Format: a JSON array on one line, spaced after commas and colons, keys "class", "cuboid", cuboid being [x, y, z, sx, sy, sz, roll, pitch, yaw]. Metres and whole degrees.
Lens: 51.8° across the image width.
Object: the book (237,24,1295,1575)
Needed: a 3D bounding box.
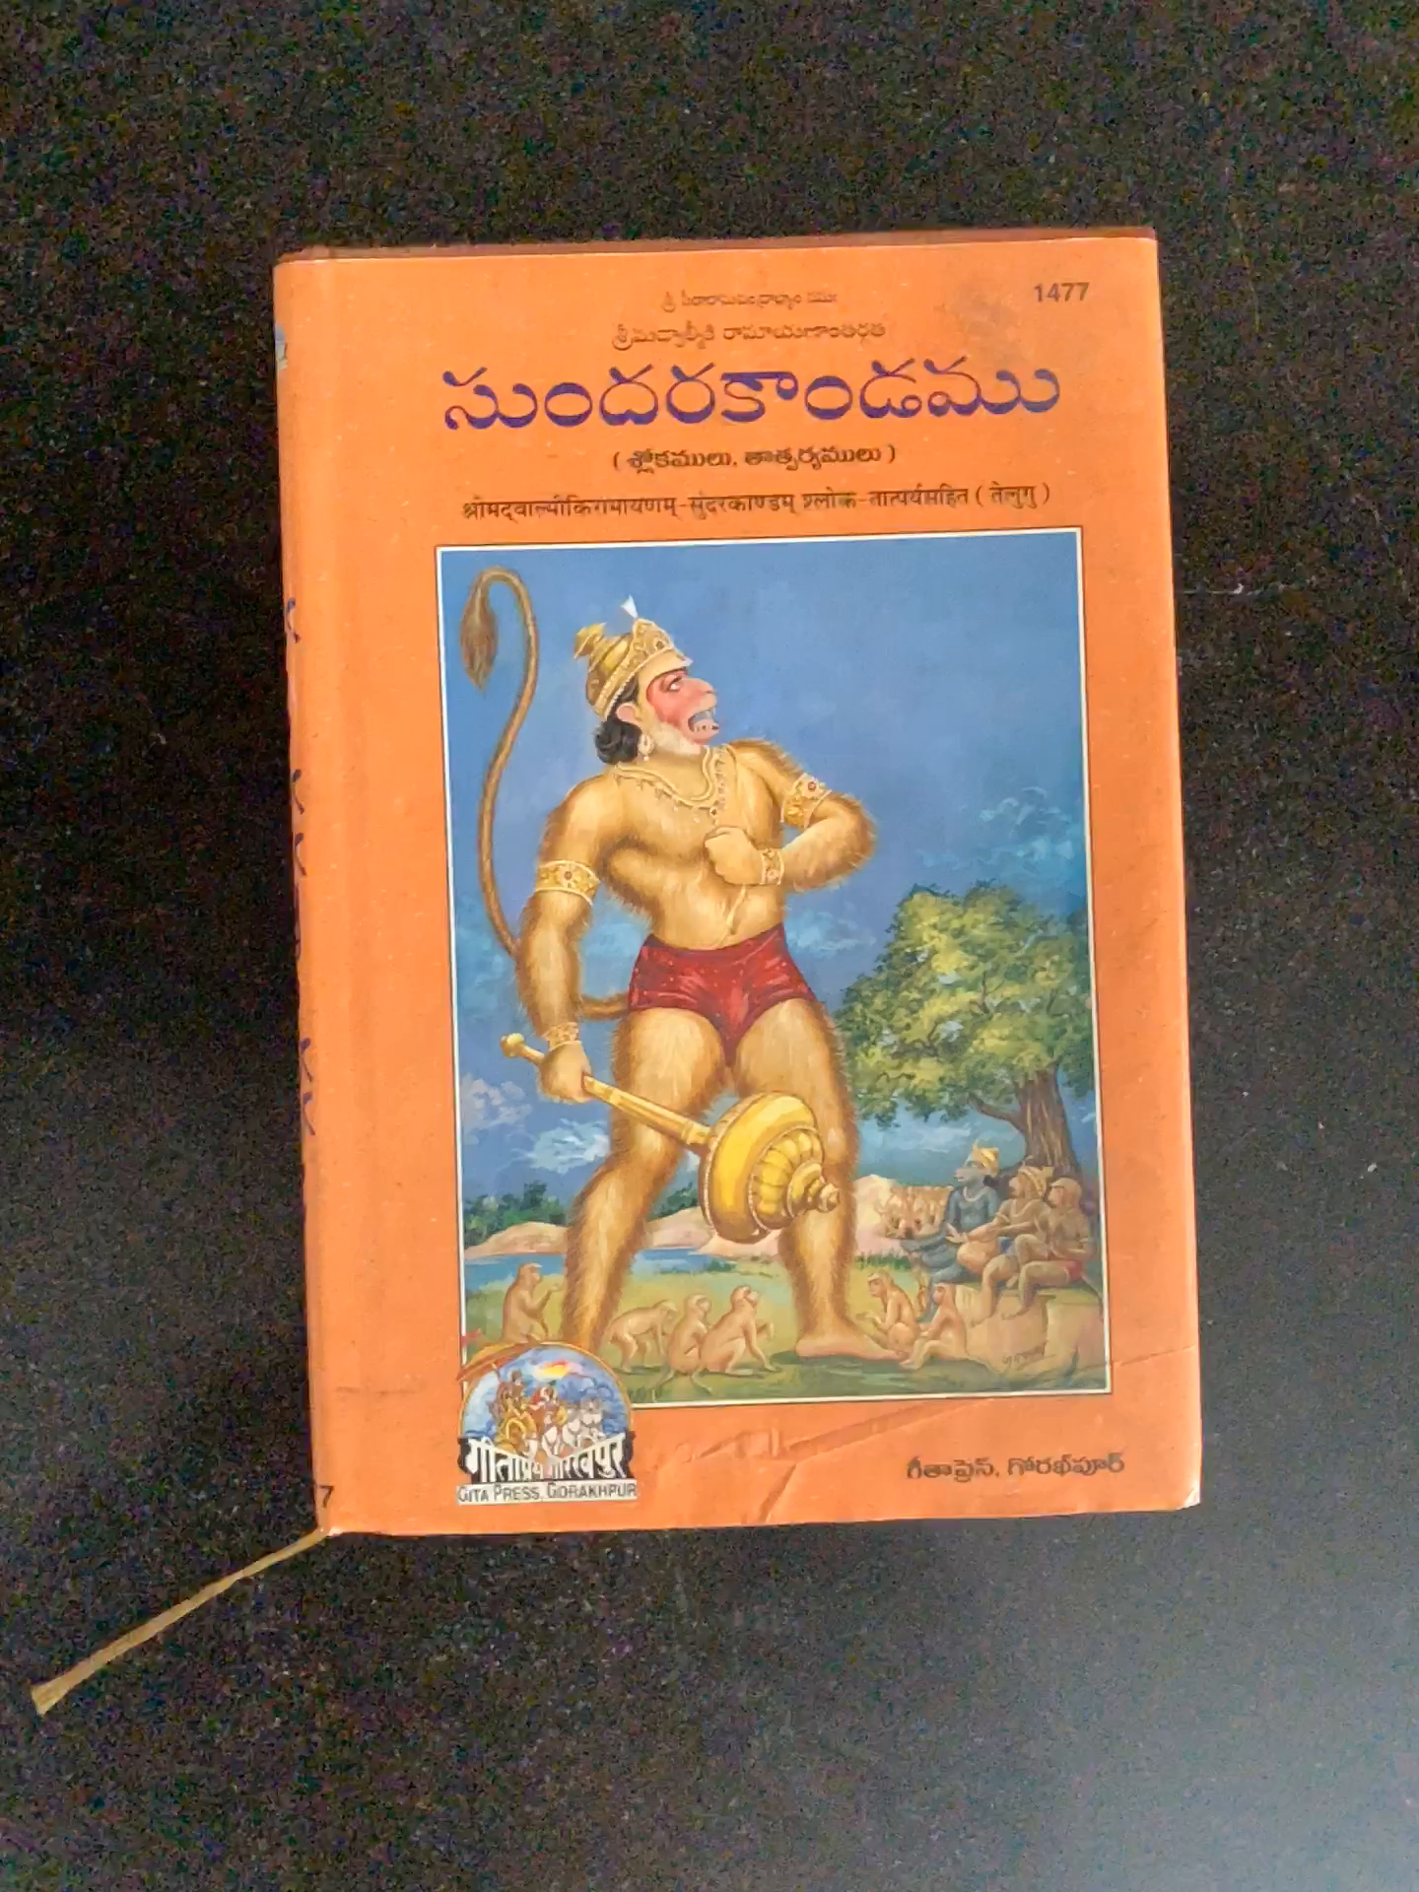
[{"class": "book", "cuboid": [0.011, -0.030, 0.307, 0.200, 0.040, 0.300, -1, 90, -1]}]
